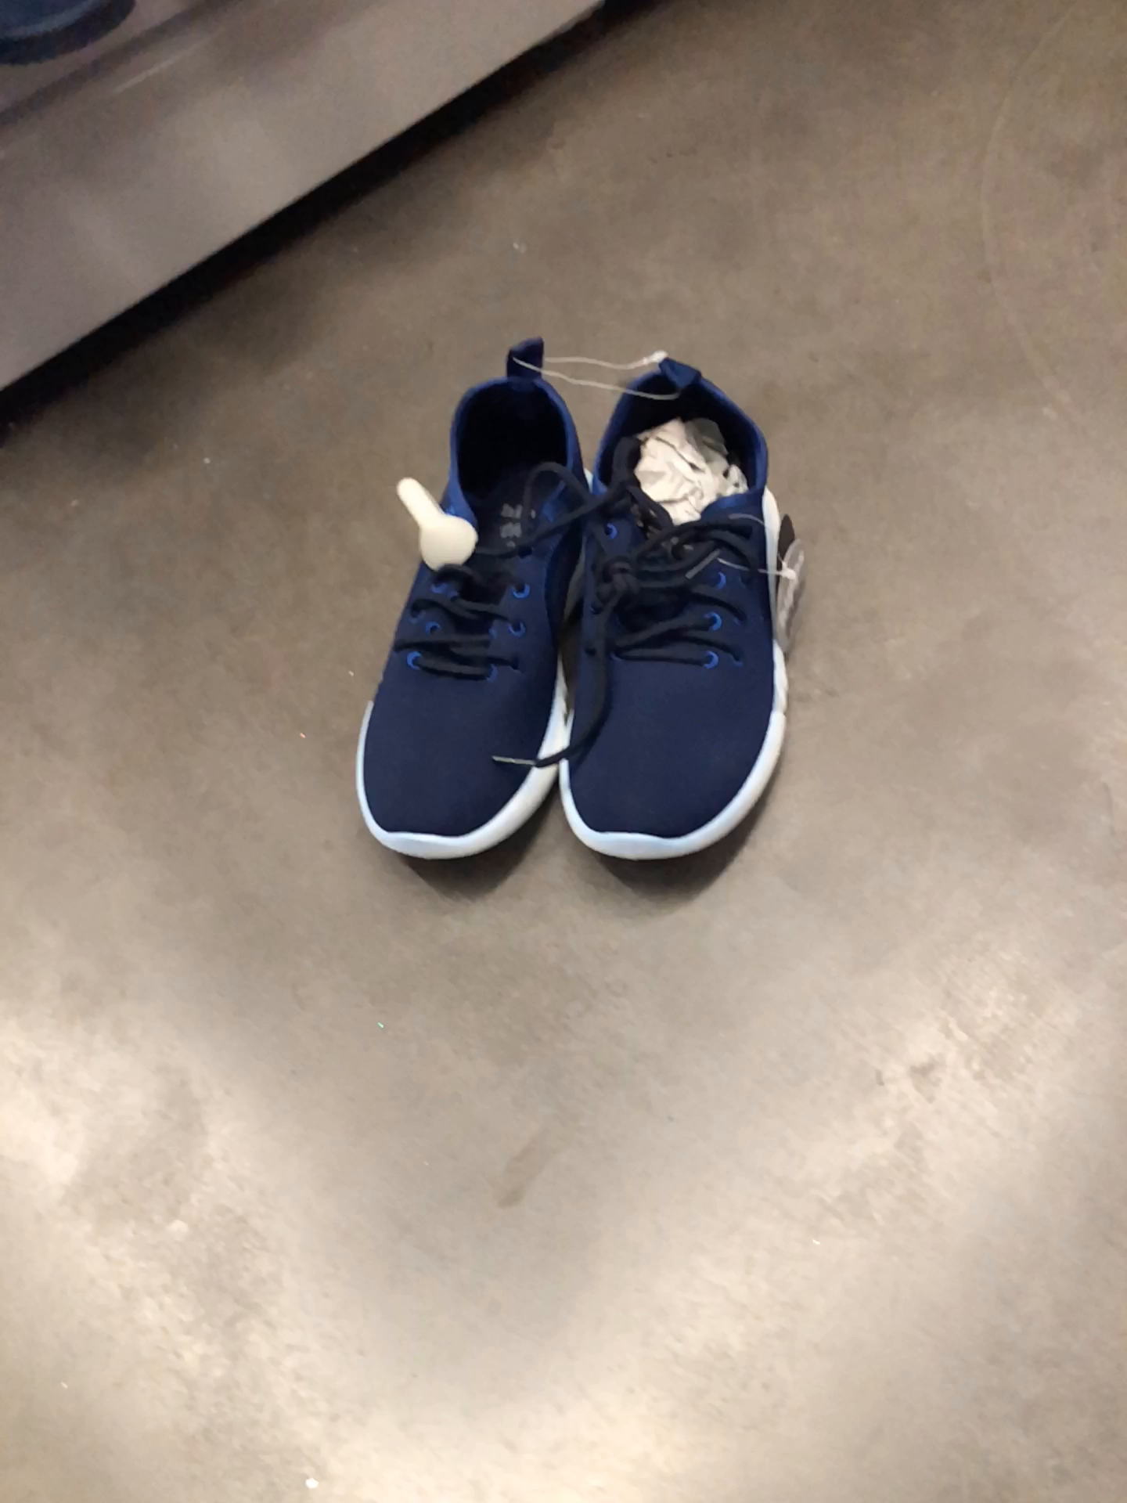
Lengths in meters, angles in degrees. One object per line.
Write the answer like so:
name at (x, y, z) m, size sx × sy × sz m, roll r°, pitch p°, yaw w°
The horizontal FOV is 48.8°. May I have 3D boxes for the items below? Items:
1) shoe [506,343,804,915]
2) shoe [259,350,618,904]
shoe at (0.050, -0.062, 0.535) m, size 0.090 × 0.090 × 0.241 m, roll 4°, pitch 56°, yaw 12°
shoe at (-0.042, -0.064, 0.552) m, size 0.090 × 0.090 × 0.241 m, roll 4°, pitch 56°, yaw 12°
